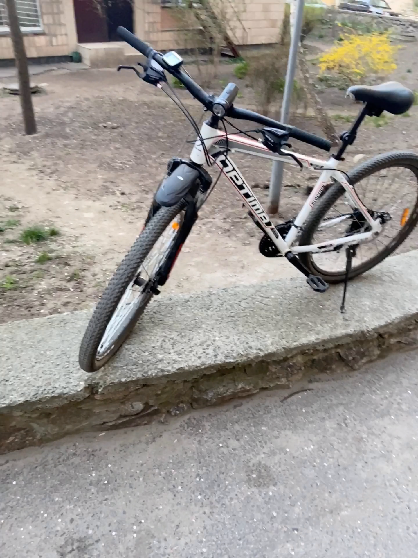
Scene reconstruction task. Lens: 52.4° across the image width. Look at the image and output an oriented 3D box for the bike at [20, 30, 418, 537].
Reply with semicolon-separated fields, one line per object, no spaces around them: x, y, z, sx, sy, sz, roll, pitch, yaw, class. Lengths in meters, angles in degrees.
0.375;-0.167;1.584;1.756;1.143;0.681;-21;41;-26;bike
